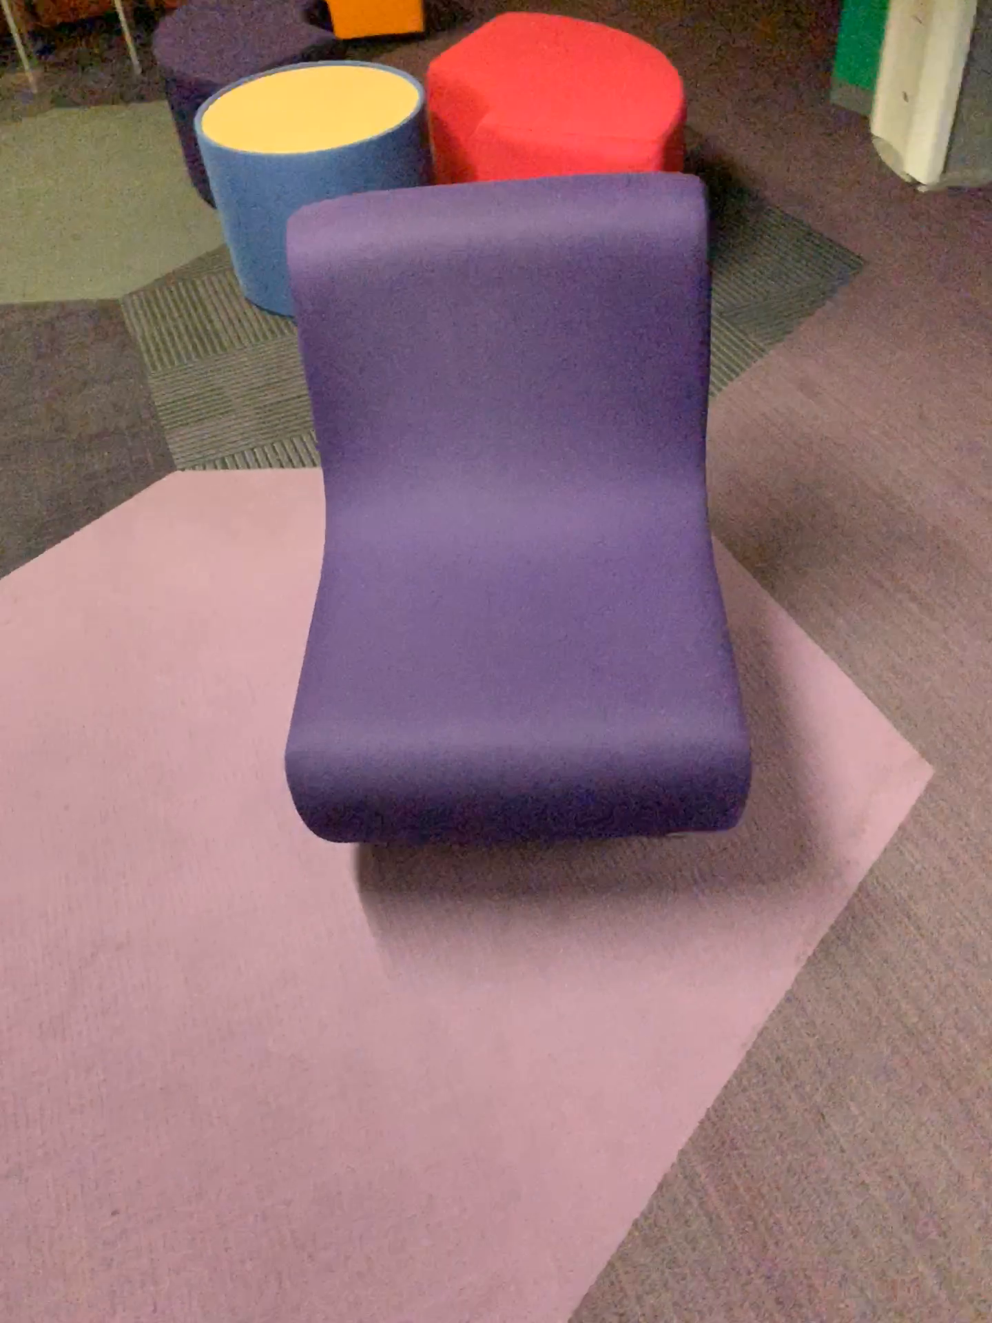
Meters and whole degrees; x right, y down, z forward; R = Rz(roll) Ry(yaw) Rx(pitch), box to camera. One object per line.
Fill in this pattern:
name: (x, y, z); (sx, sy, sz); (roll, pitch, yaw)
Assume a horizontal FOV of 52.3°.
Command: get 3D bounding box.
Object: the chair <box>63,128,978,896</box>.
chair: (0.038, -0.220, 1.388); (0.800, 0.614, 0.828); (-3, 46, 4)
